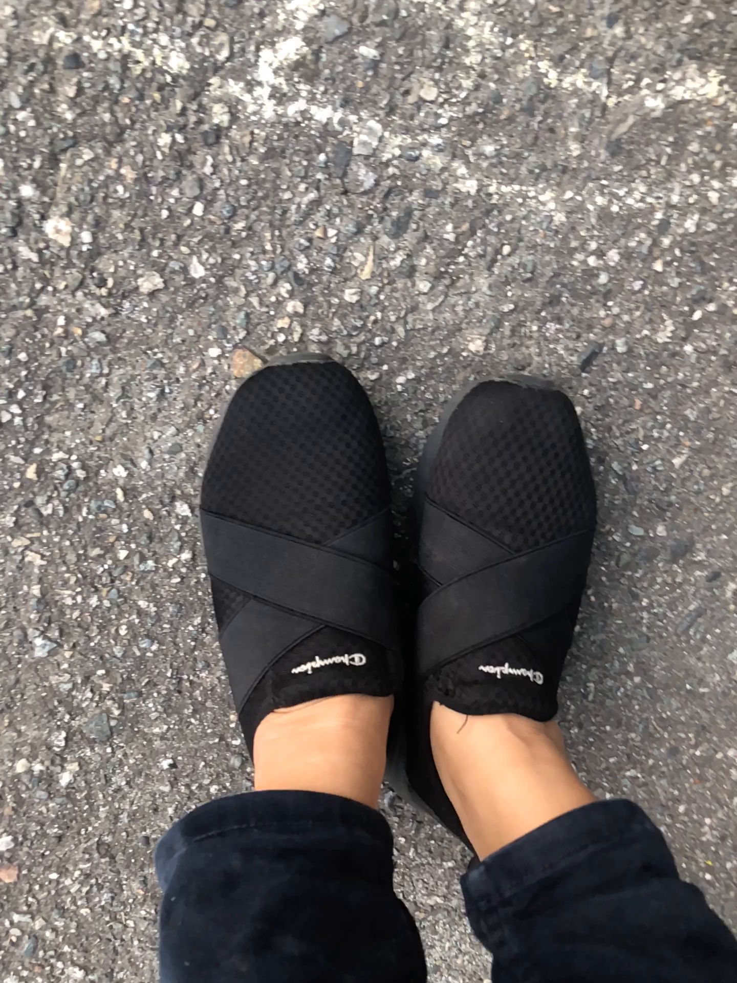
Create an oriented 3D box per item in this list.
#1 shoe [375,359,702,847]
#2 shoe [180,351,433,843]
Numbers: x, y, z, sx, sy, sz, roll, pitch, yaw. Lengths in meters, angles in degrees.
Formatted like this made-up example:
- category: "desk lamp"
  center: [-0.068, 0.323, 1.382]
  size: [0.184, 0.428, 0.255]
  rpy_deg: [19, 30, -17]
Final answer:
- category: "shoe"
  center: [0.072, 0.055, 0.399]
  size: [0.100, 0.080, 0.220]
  rpy_deg: [5, 107, -9]
- category: "shoe"
  center: [-0.029, 0.049, 0.386]
  size: [0.100, 0.070, 0.220]
  rpy_deg: [-1, 108, -7]
